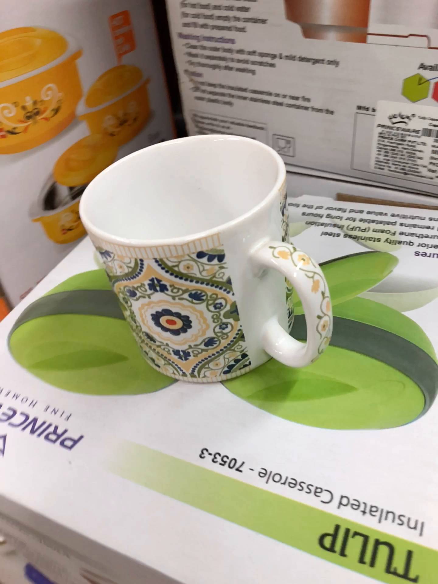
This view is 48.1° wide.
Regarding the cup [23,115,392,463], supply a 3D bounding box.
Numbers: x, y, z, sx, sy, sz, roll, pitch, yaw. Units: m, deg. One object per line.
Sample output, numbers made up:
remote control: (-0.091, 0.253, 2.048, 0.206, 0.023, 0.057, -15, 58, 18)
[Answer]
cup: (-0.003, -0.010, 0.193, 0.110, 0.079, 0.070, 25, 51, 36)
